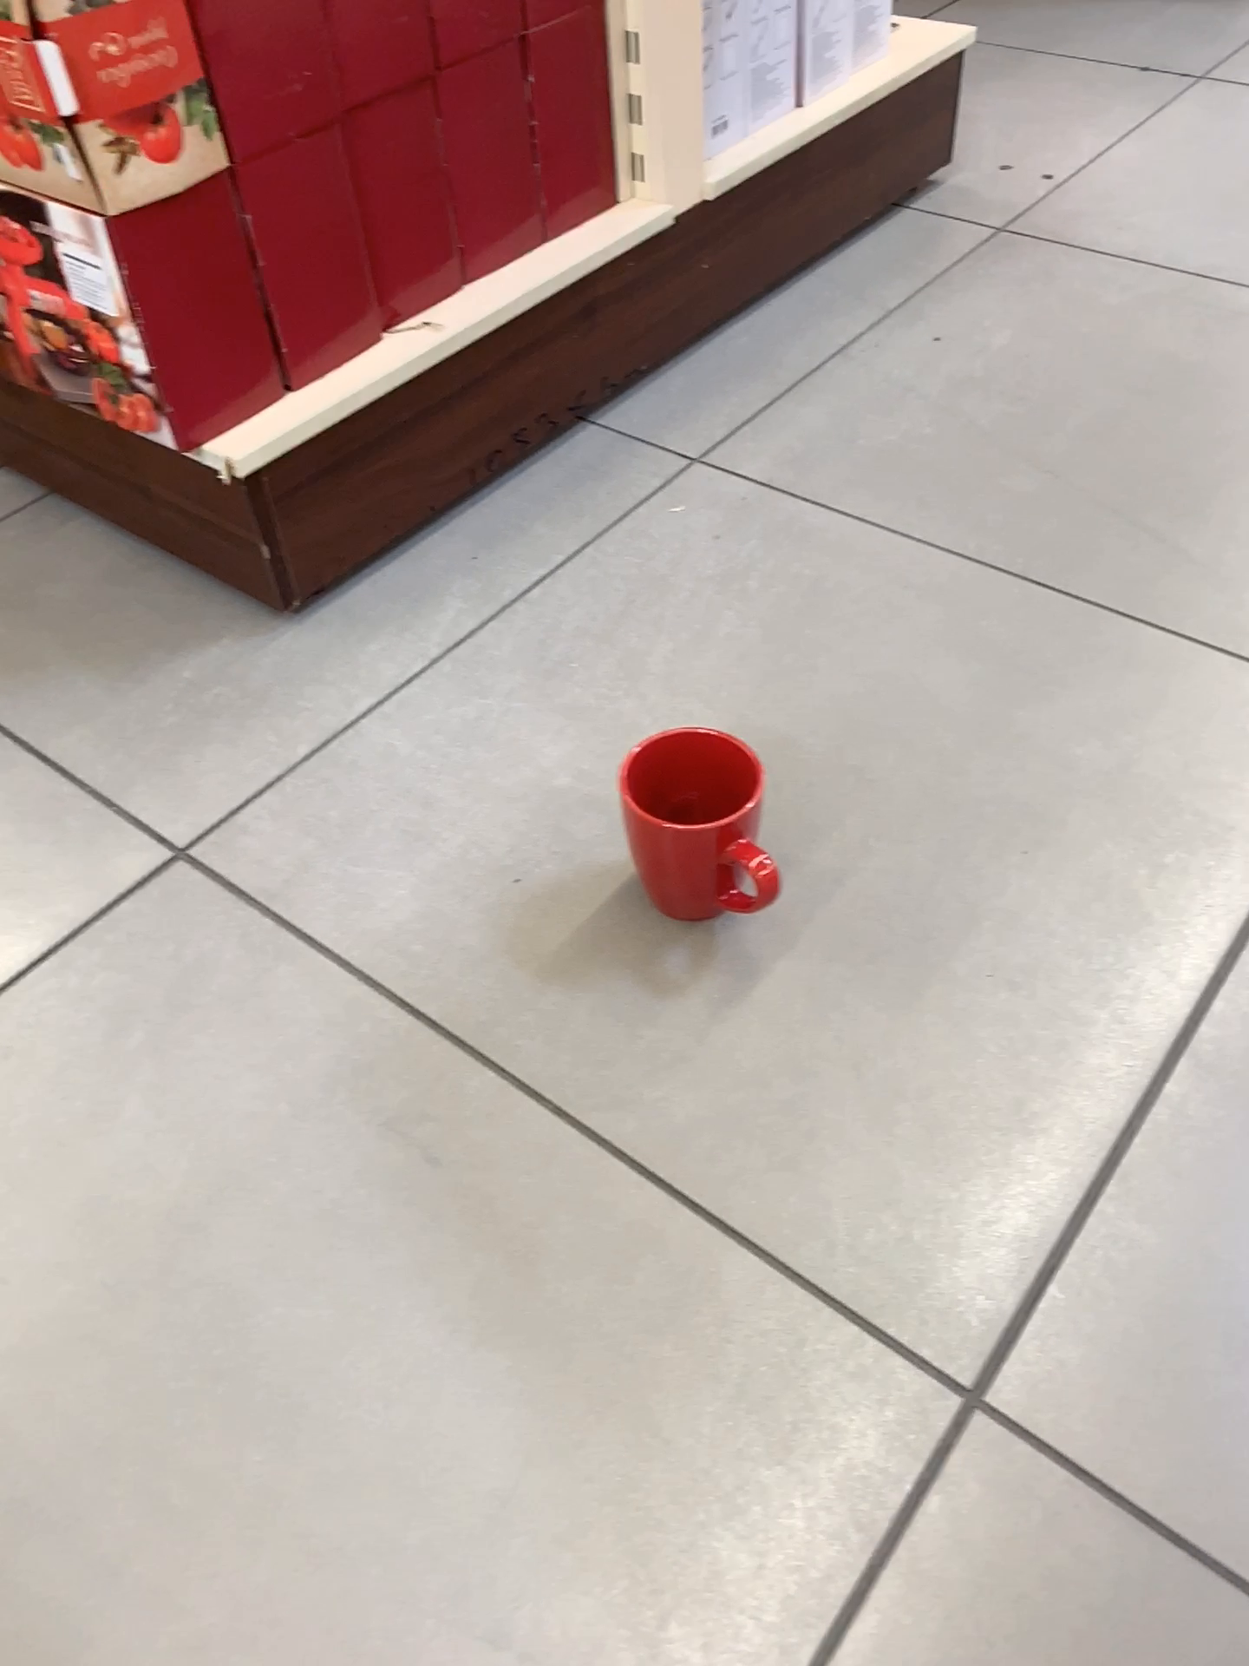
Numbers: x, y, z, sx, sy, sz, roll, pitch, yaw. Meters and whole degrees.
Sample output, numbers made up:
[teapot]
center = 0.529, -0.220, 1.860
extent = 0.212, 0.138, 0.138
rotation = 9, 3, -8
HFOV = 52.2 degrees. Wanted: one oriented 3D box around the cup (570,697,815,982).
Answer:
[cup]
center = 0.039, 0.002, 0.767
extent = 0.090, 0.090, 0.120
rotation = -25, 50, -19
